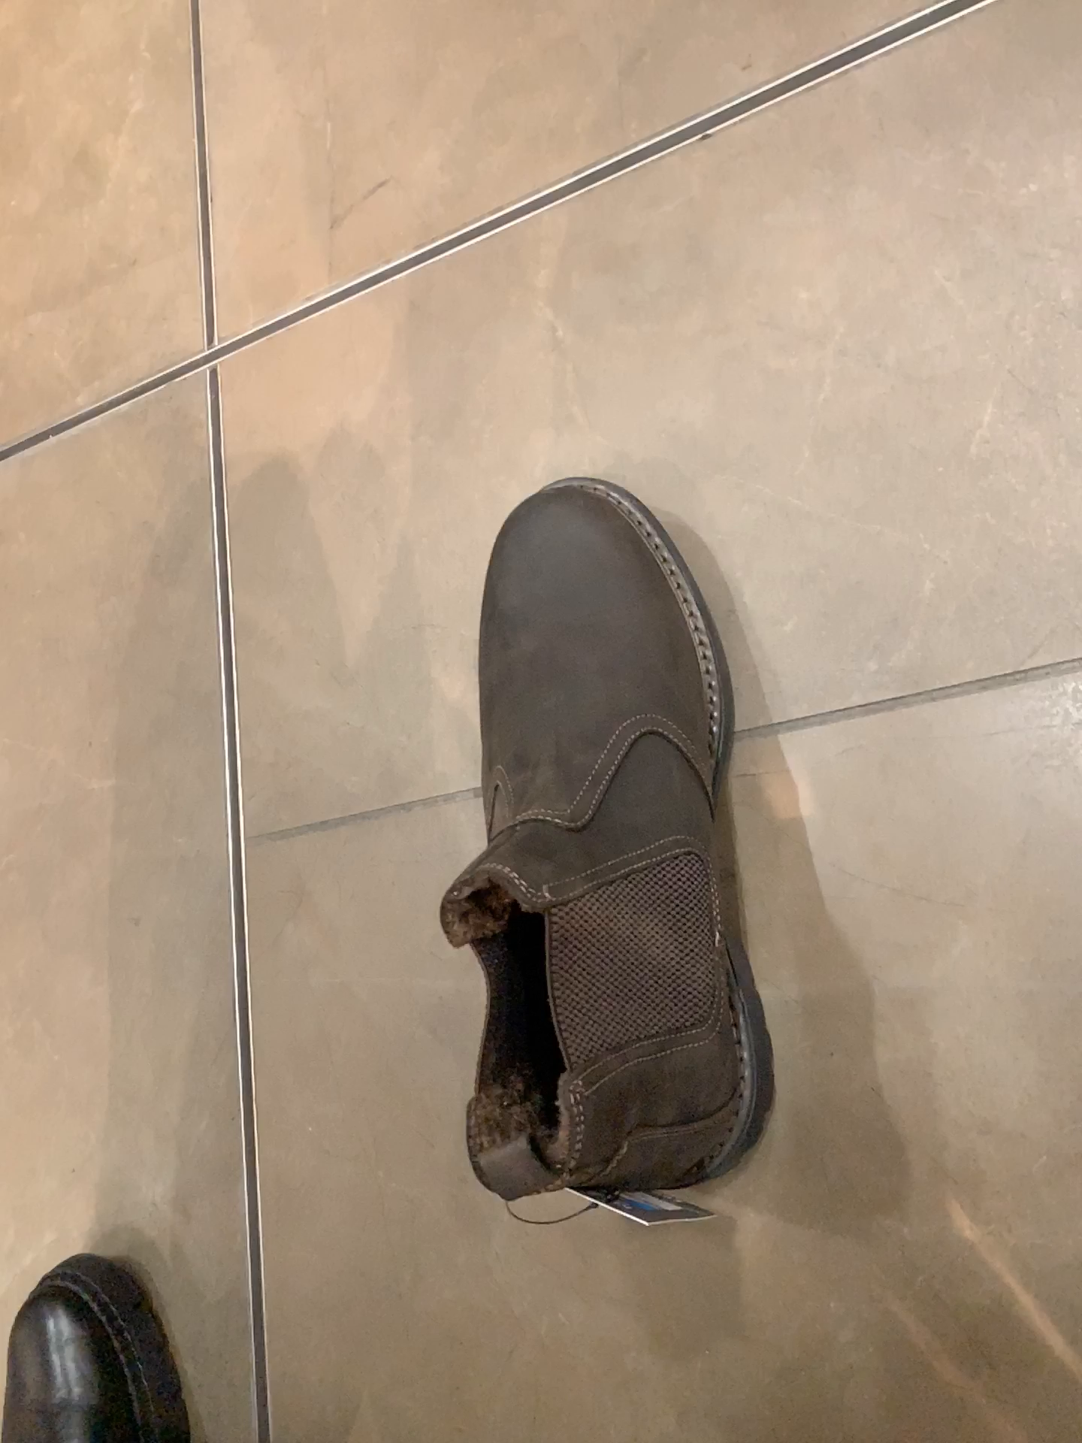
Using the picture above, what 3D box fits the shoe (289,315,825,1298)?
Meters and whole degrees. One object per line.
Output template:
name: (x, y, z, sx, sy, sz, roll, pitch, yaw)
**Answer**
shoe: (0.008, 0.034, 0.433, 0.114, 0.166, 0.304, -13, 74, 26)
